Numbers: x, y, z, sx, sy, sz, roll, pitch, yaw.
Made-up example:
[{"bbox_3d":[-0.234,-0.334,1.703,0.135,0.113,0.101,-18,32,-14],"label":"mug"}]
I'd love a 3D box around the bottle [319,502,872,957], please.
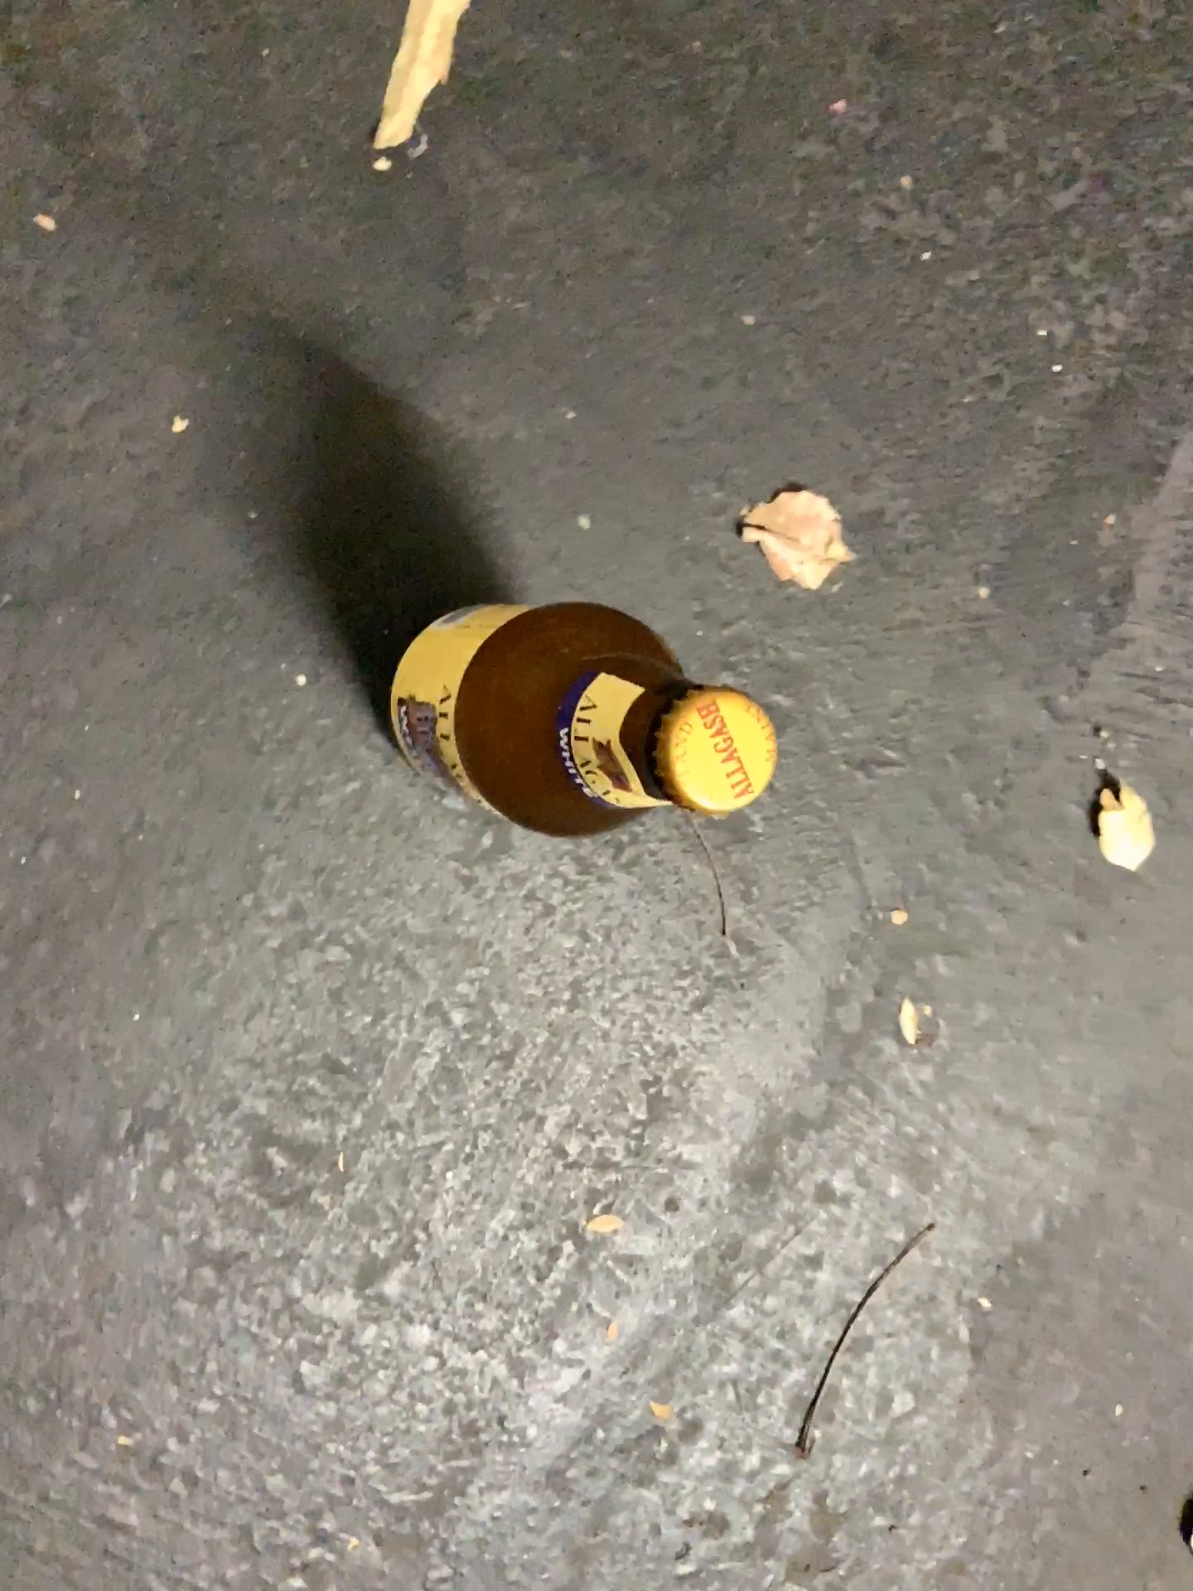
[{"bbox_3d":[-0.015,-0.027,0.367,0.070,0.190,0.070,-3,99,-19],"label":"bottle"}]
